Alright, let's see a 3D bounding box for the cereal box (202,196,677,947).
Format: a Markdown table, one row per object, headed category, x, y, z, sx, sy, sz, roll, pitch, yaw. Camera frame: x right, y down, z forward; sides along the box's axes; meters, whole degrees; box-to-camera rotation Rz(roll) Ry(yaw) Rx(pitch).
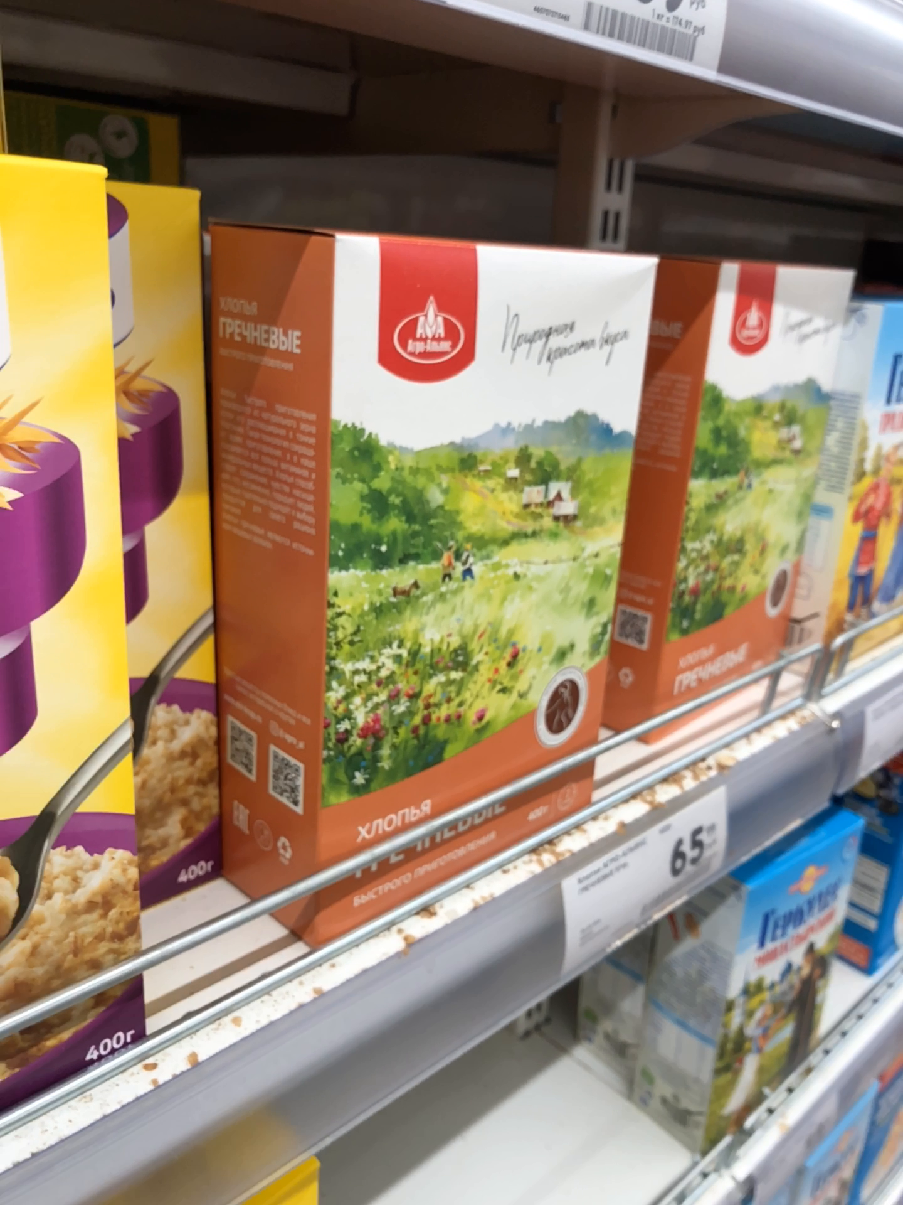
| category | x | y | z | sx | sy | sz | roll | pitch | yaw |
| --- | --- | --- | --- | --- | --- | --- | --- | --- | --- |
| cereal box | -0.002 | -0.016 | 0.321 | 0.140 | 0.199 | 0.050 | -15 | 26 | -42 |
